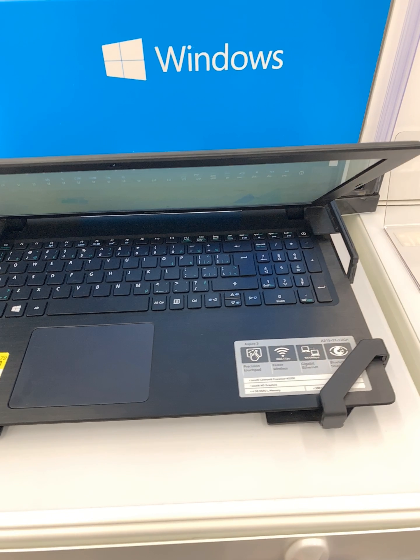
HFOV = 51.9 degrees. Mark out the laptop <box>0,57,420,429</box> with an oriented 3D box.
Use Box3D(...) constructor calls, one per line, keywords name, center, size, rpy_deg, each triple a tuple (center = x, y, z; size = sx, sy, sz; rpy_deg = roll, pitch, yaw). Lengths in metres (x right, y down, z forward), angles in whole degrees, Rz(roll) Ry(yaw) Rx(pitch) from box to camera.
Box3D(name="laptop", center=(-0.053, -0.043, 0.318), size=(0.344, 0.147, 0.227), rpy_deg=(-2, 44, -2))
